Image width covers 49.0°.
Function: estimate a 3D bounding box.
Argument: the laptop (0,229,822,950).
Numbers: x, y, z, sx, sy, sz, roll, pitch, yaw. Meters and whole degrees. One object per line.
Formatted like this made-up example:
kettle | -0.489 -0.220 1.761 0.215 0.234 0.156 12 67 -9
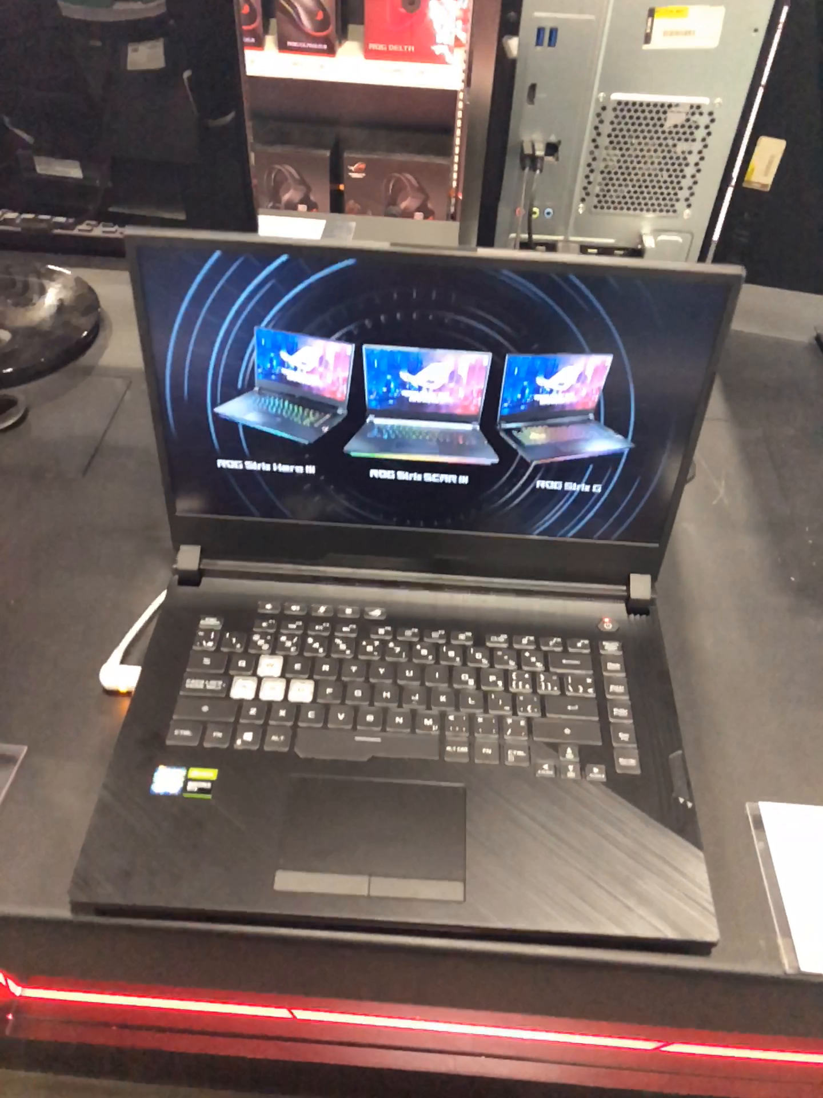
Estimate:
laptop | 0.000 0.016 0.497 0.349 0.243 0.281 4 45 0
